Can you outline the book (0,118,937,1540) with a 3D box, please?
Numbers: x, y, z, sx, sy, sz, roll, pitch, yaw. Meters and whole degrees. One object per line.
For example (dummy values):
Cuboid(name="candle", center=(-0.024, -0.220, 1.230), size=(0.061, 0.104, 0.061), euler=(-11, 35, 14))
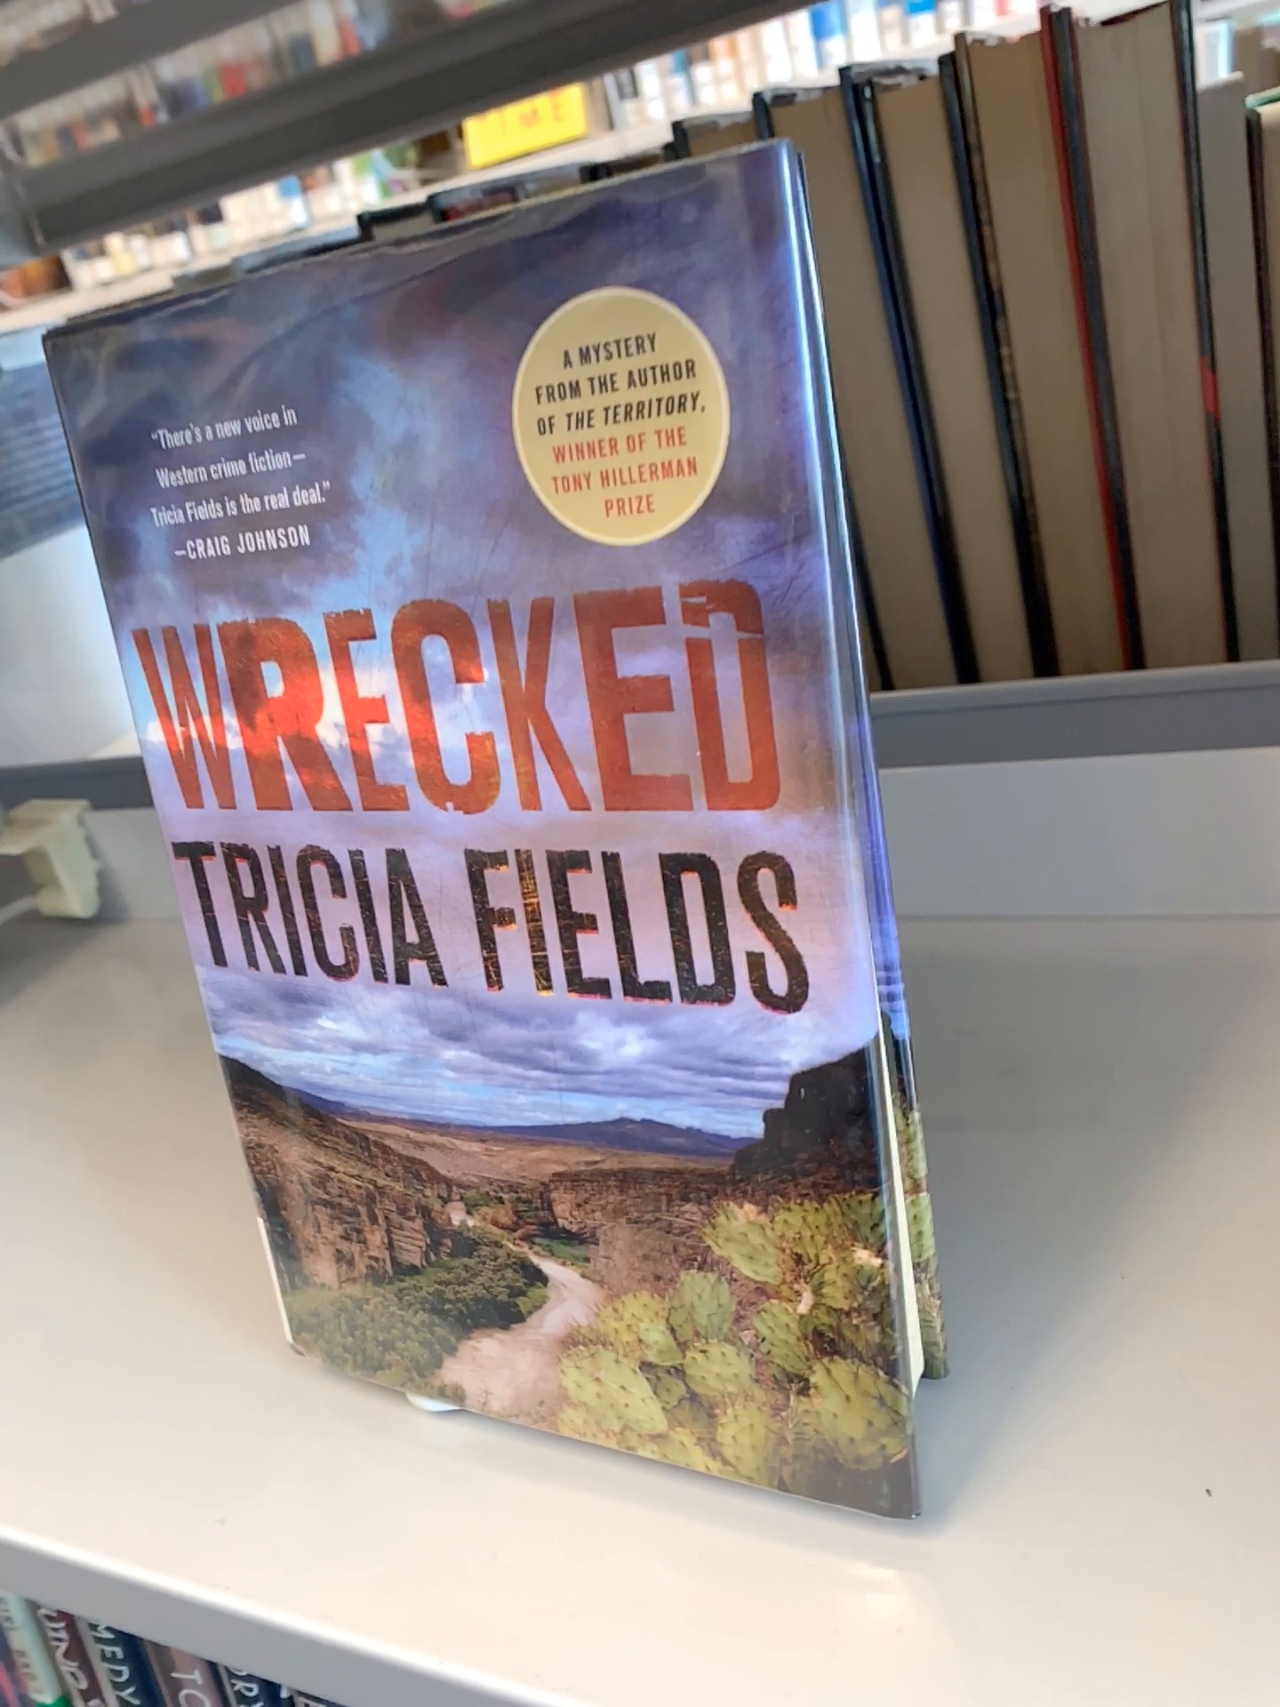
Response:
Cuboid(name="book", center=(-0.037, 0.005, 0.234), size=(0.150, 0.203, 0.040), euler=(0, 19, 30))
